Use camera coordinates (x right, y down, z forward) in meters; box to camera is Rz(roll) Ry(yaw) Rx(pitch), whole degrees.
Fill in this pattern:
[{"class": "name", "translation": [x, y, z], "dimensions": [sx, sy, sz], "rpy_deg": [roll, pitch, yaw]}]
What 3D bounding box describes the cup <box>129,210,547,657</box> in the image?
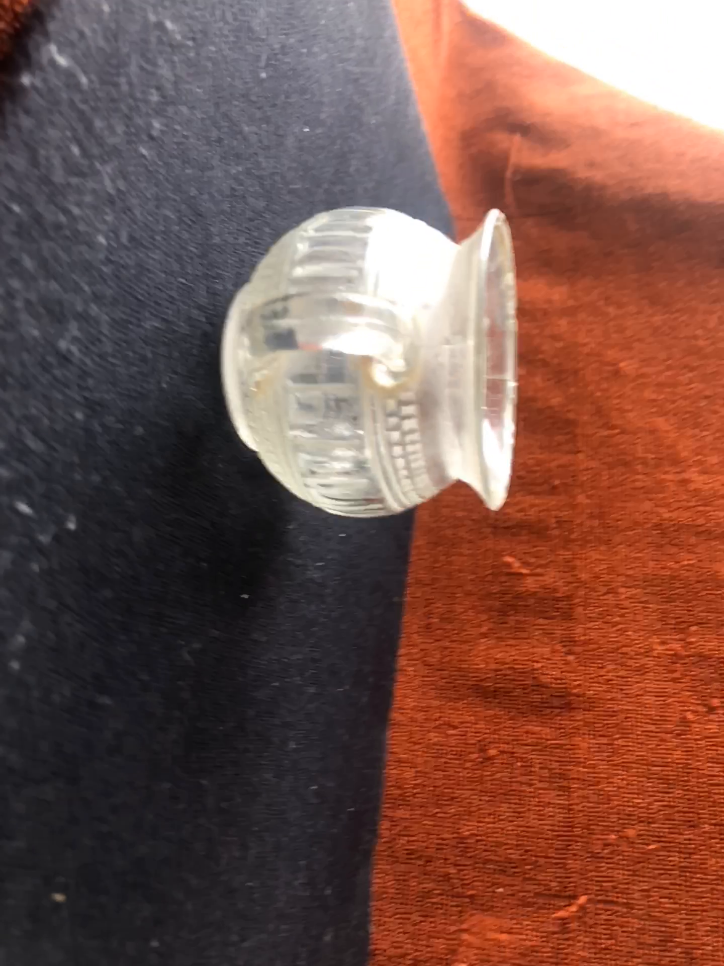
[{"class": "cup", "translation": [0.006, -0.019, 0.176], "dimensions": [0.090, 0.060, 0.070], "rpy_deg": [-51, 139, -65]}]
